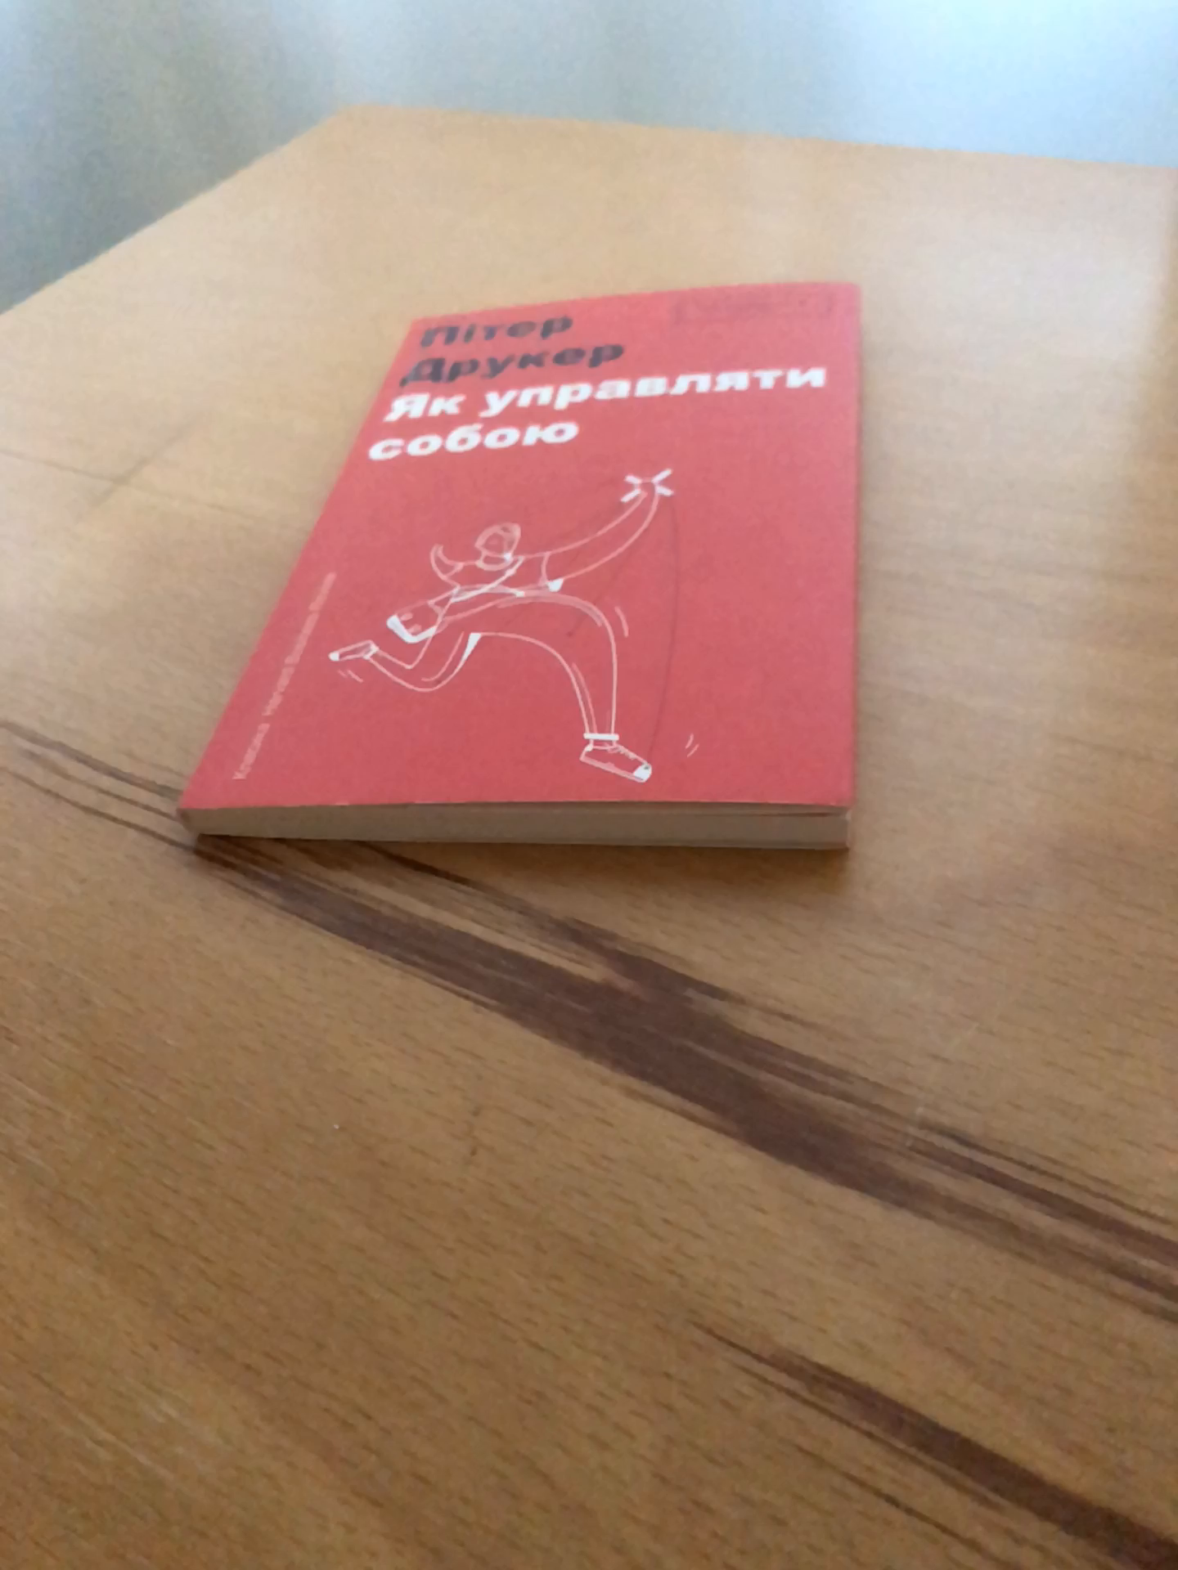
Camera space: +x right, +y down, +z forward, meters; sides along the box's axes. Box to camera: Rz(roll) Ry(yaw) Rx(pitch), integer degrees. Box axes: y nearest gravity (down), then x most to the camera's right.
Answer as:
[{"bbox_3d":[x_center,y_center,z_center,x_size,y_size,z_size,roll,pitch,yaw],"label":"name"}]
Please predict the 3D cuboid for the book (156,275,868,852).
[{"bbox_3d":[-0.002,-0.053,0.262,0.111,0.013,0.165,0,46,13],"label":"book"}]
